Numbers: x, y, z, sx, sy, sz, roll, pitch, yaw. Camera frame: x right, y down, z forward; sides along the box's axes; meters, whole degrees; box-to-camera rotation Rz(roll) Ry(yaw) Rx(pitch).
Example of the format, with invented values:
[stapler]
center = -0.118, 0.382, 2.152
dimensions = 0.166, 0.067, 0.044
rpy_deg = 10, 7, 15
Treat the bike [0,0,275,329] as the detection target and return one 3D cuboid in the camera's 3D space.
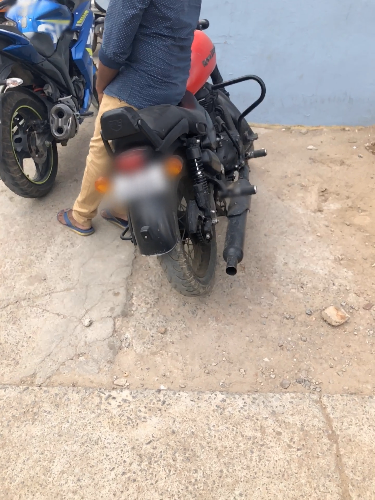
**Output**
[bike]
center = -0.142, -0.772, 1.913
dimensions = 0.776, 1.245, 1.549
rpy_deg = 6, 41, 1
